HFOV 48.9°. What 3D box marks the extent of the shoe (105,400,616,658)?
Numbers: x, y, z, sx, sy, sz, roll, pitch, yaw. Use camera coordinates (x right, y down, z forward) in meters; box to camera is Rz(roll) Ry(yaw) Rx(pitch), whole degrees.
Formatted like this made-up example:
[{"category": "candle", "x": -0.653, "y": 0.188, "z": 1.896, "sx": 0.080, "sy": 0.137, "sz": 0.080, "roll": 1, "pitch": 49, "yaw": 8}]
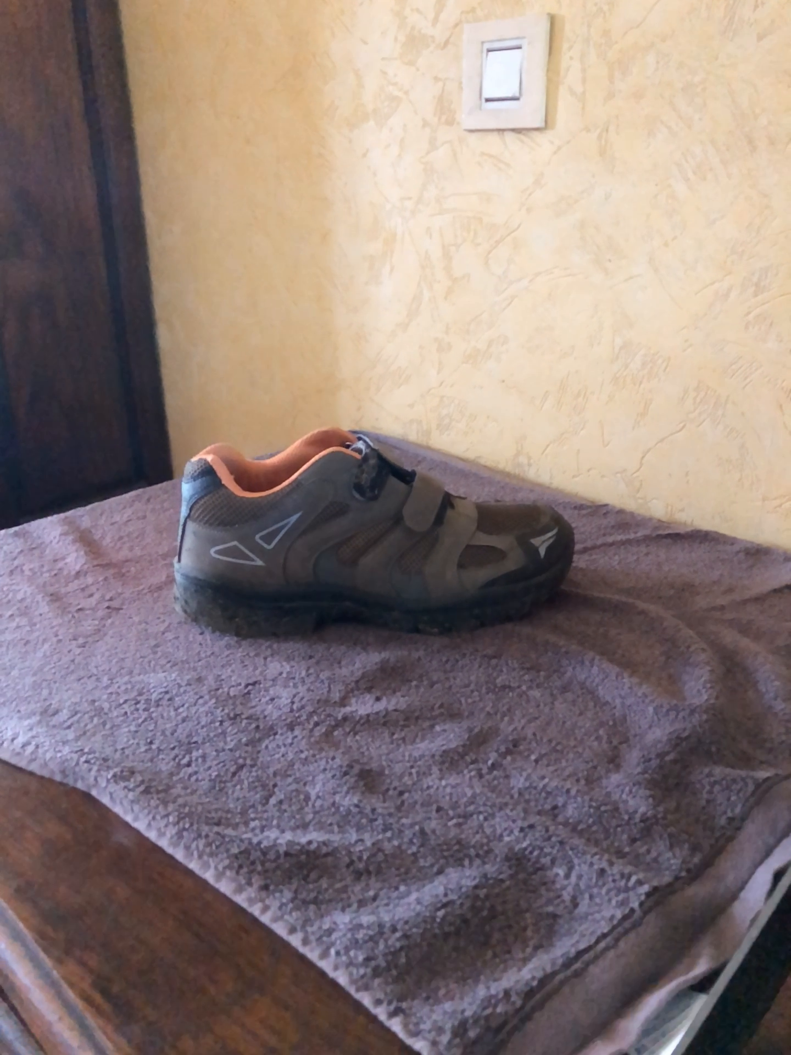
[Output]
[{"category": "shoe", "x": -0.020, "y": -0.007, "z": 0.526, "sx": 0.270, "sy": 0.099, "sz": 0.110, "roll": -5, "pitch": 23, "yaw": -7}]
